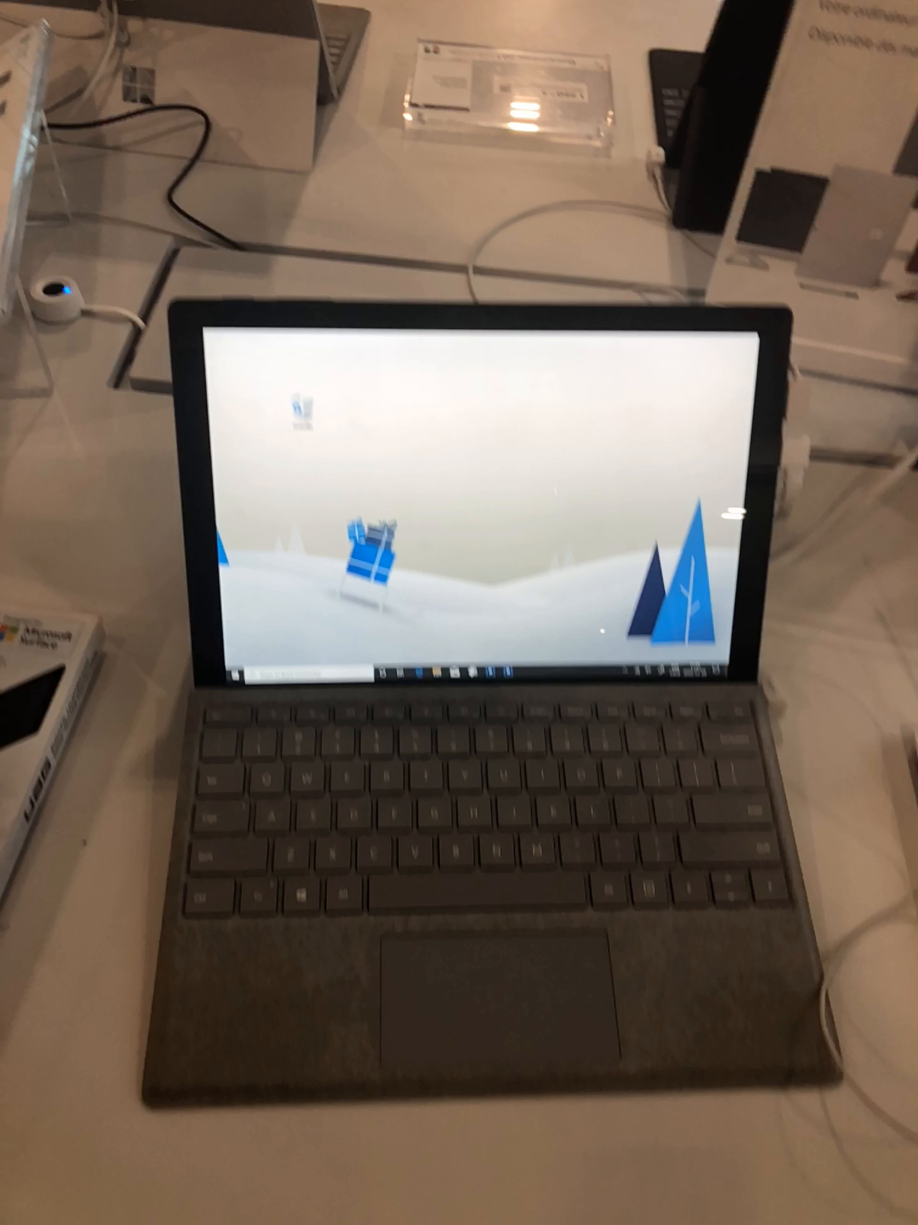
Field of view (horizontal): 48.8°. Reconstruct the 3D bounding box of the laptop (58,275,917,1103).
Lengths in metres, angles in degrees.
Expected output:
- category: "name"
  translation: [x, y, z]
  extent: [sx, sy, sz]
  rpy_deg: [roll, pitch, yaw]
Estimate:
- category: "laptop"
  translation: [0.015, 0.024, 0.443]
  extent: [0.285, 0.150, 0.308]
  rpy_deg: [0, 56, -5]
